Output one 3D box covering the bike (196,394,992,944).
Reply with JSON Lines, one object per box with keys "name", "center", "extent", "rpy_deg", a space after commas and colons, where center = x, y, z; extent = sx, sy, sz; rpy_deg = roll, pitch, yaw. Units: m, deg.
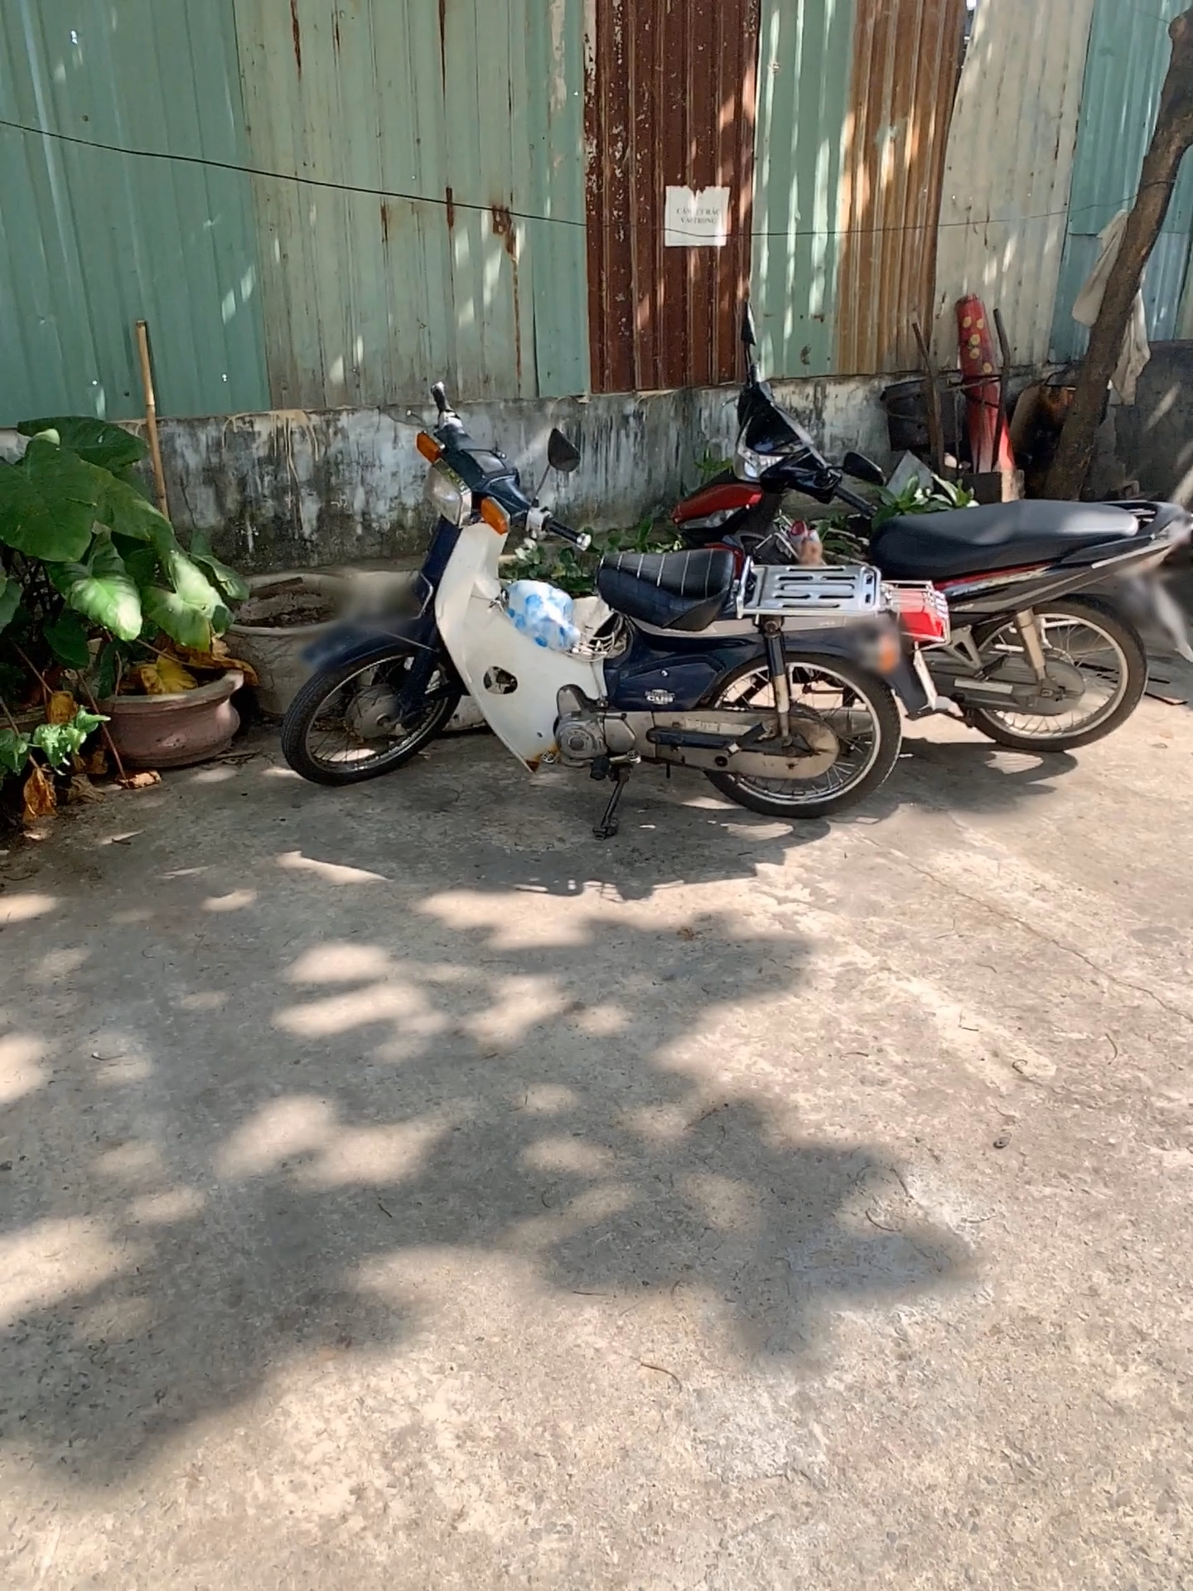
{"name": "bike", "center": [-0.014, -0.300, 2.757], "extent": [1.474, 1.024, 0.656], "rpy_deg": [-1, 24, 2]}
